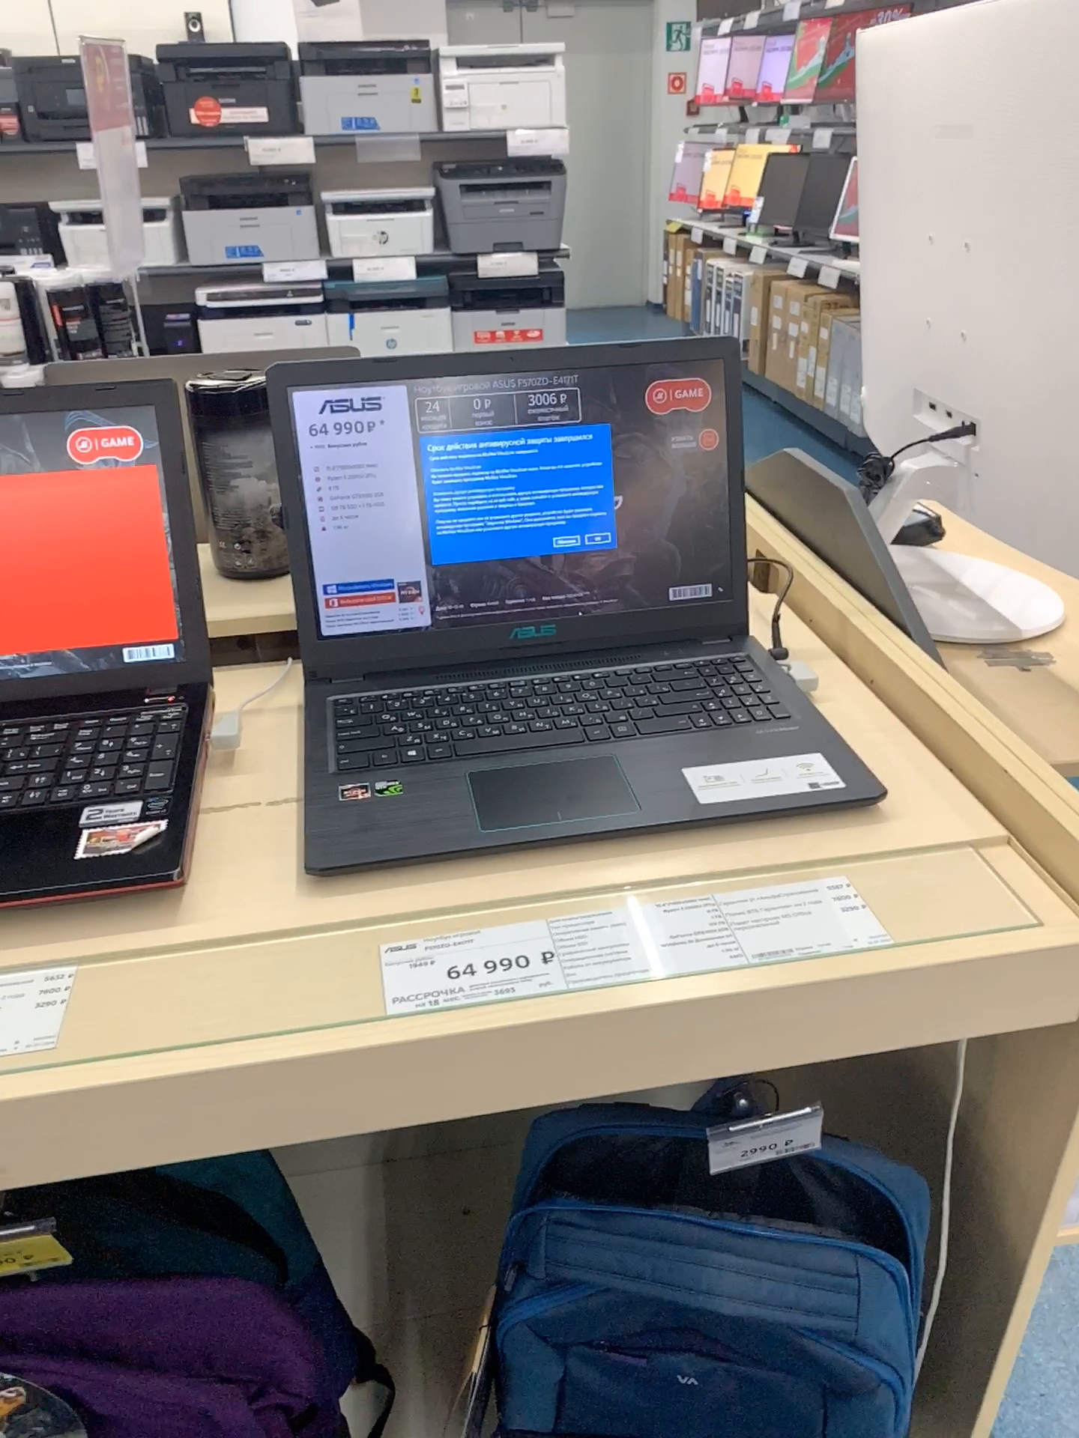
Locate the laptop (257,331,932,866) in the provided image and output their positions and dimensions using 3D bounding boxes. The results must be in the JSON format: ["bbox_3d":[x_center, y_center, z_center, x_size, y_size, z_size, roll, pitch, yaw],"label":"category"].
[{"bbox_3d":[0.007,-0.110,0.758,0.358,0.222,0.319,-7,30,-9],"label":"laptop"}]
